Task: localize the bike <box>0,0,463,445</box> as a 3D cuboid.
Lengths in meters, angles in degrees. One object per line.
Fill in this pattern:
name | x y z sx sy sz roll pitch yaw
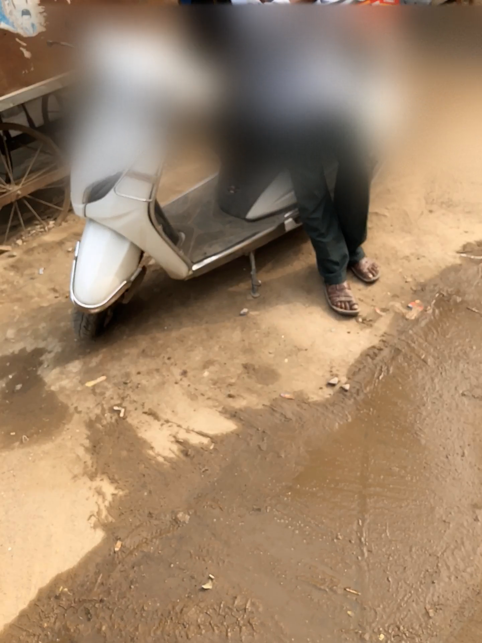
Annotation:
bike | 0.013 -0.560 1.999 1.580 1.112 0.657 -33 43 -22
